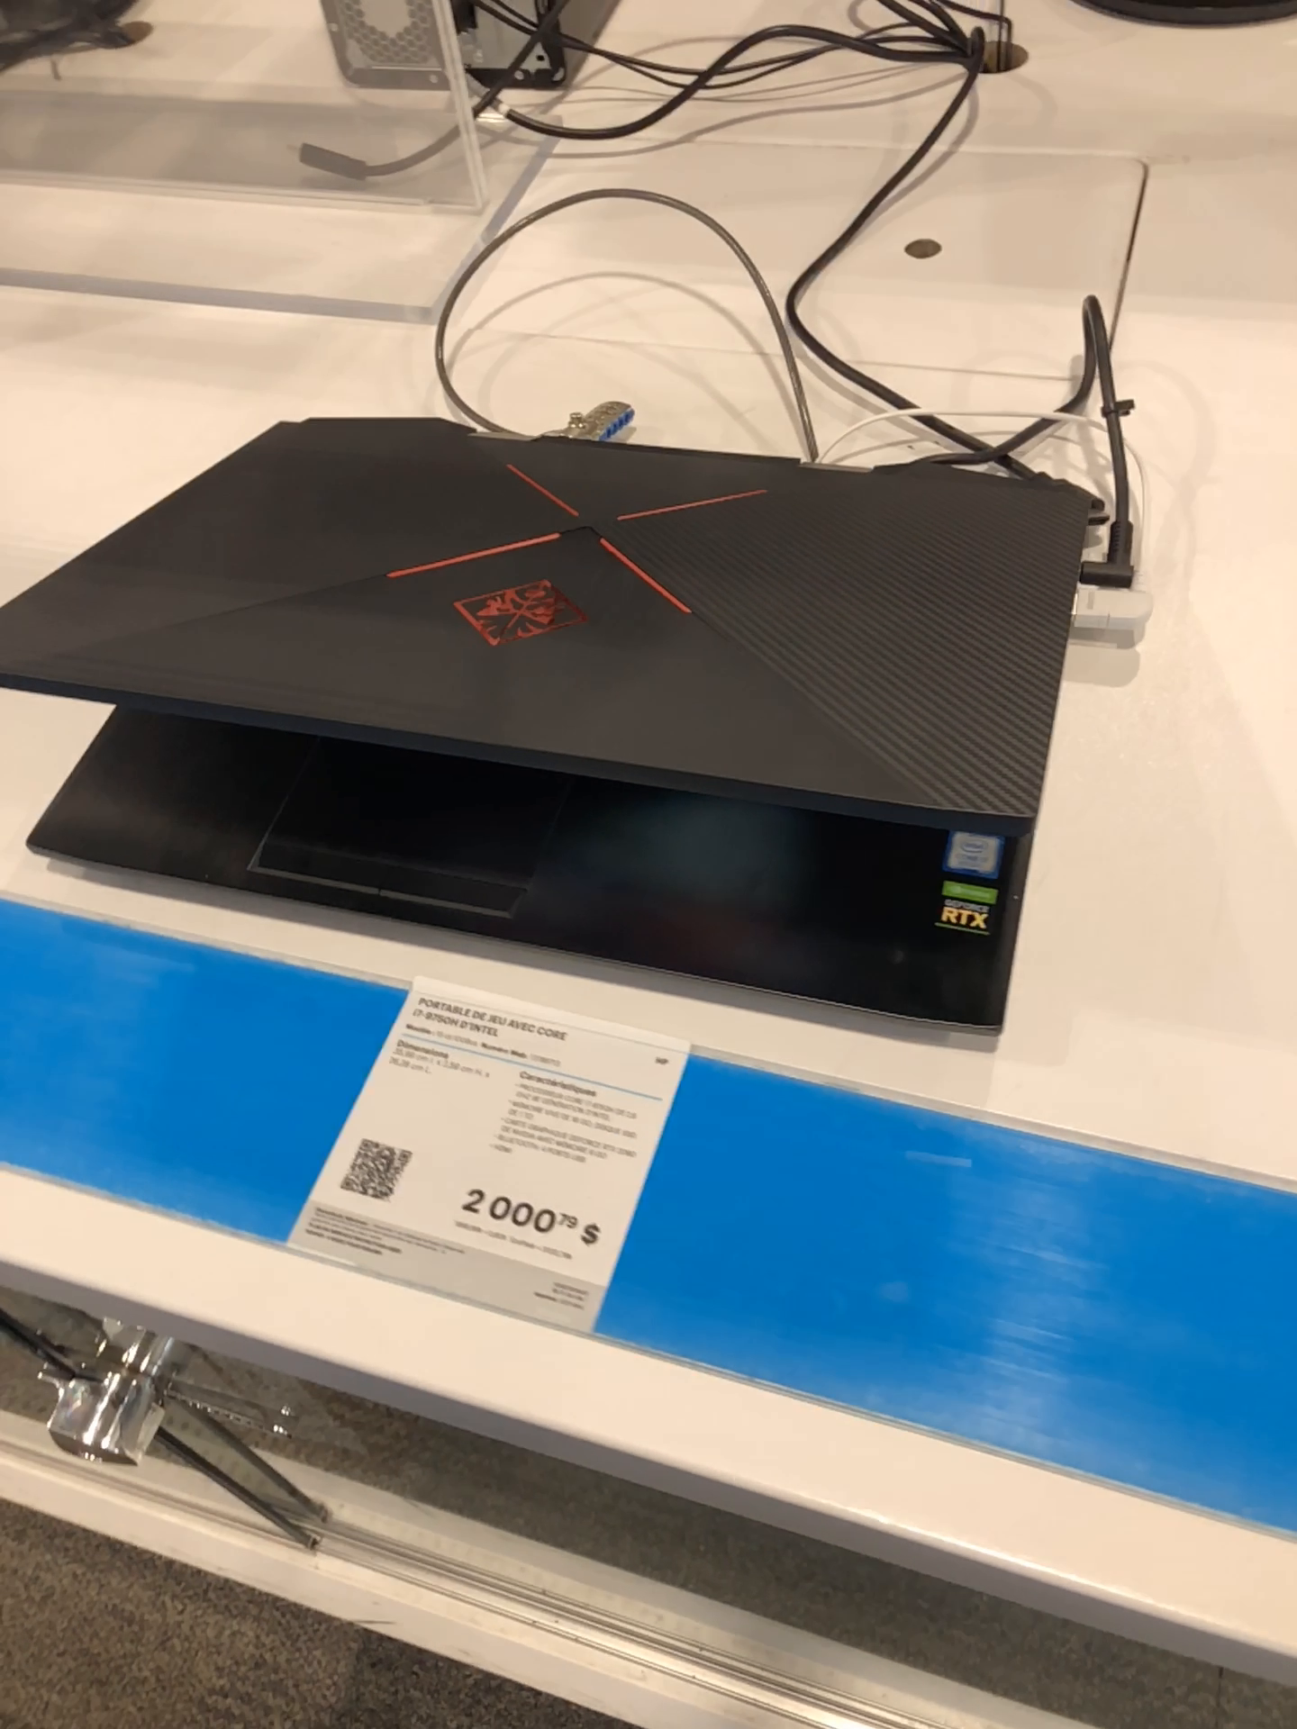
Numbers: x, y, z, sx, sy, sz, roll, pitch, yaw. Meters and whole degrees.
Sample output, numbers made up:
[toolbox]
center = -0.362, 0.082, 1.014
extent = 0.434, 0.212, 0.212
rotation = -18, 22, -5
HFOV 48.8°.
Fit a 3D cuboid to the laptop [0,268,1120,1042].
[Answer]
[laptop]
center = -0.029, -0.095, 0.508
extent = 0.346, 0.085, 0.235
rotation = 10, 56, 15
